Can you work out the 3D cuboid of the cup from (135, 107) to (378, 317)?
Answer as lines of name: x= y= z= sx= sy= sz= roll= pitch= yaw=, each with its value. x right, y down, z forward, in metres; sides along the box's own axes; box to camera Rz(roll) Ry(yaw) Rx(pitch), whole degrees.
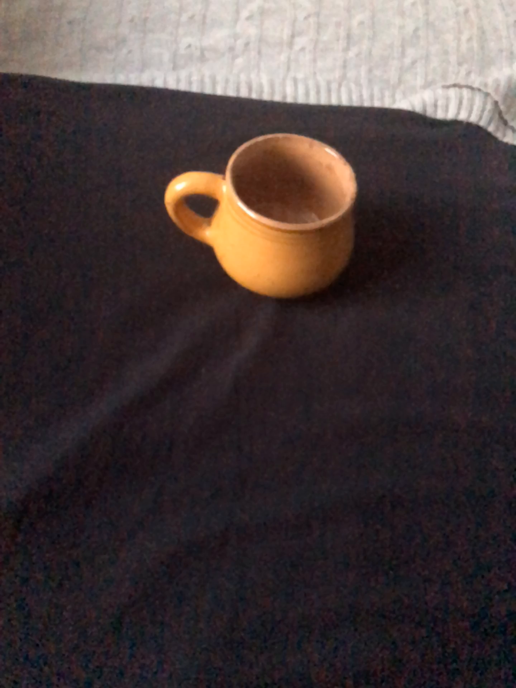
cup: x=0.001 y=-0.076 z=0.335 sx=0.119 sy=0.058 sz=0.082 roll=11 pitch=56 yaw=0
